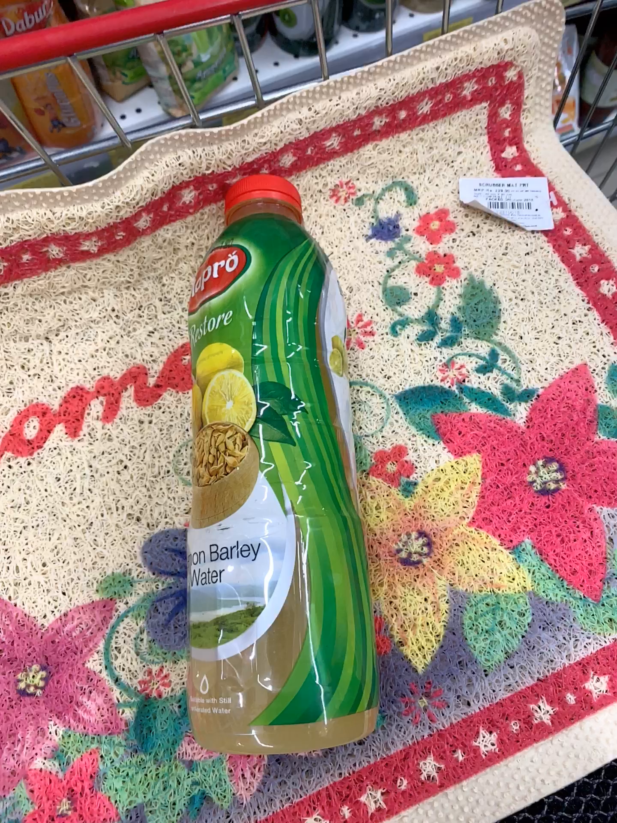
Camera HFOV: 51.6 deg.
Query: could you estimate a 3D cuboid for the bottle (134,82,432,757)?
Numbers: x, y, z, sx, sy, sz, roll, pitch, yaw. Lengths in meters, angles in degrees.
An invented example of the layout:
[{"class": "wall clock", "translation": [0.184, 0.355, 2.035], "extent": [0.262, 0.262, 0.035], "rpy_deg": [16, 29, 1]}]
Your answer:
[{"class": "bottle", "translation": [-0.014, 0.000, 0.297], "extent": [0.080, 0.090, 0.270], "rpy_deg": [-16, 67, 31]}]
